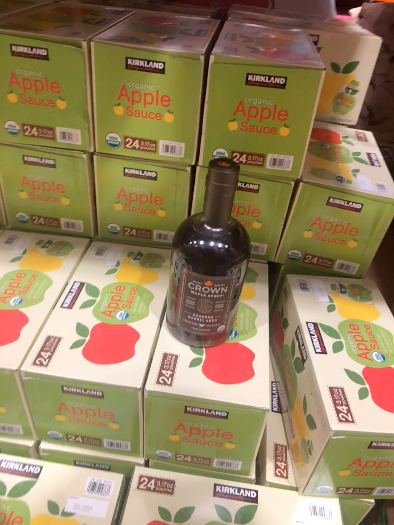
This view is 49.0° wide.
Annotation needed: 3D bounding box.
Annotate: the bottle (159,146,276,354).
[{"bbox_3d":[0.016,-0.008,0.503,0.100,0.219,0.090,6,36,-1],"label":"bottle"}]
